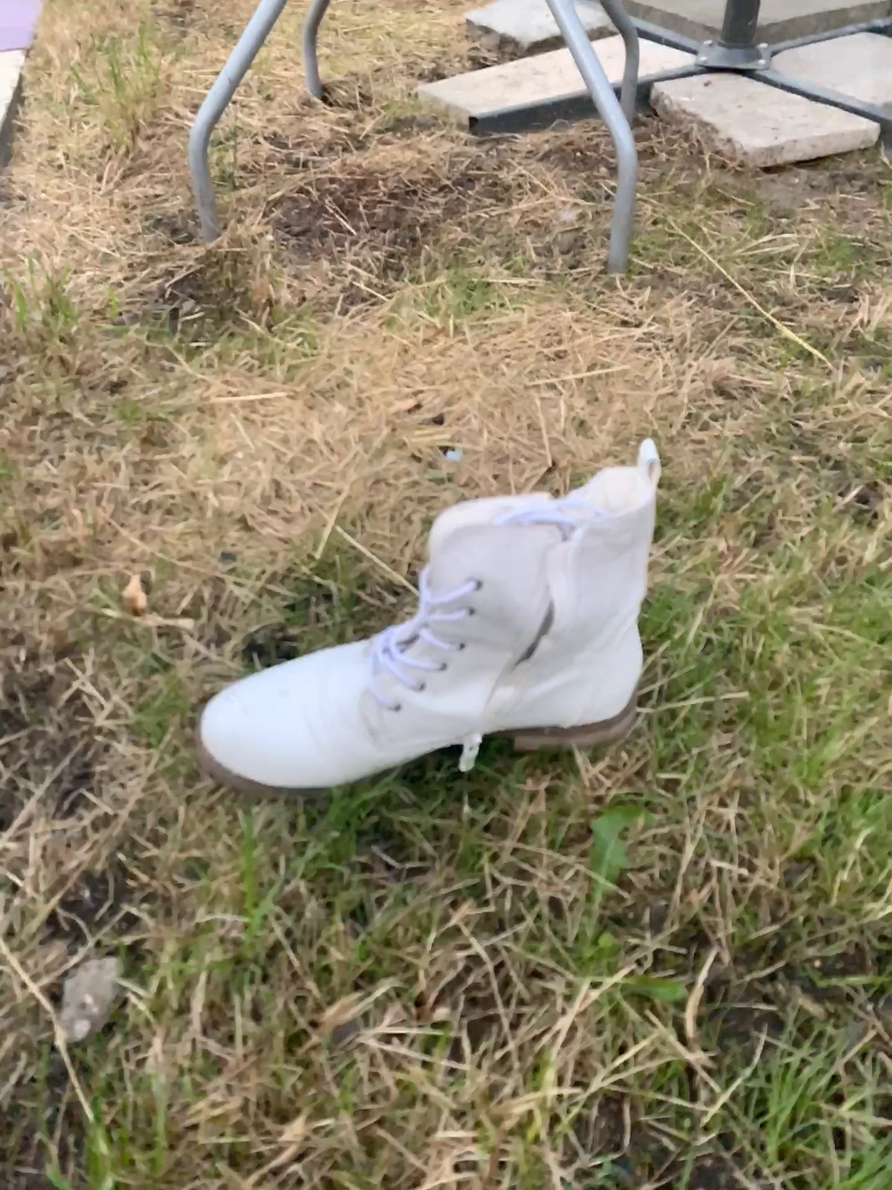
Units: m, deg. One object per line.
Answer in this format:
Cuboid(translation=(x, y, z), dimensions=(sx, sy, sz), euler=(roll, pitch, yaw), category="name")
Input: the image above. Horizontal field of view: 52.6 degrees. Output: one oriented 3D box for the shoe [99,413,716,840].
Cuboid(translation=(-0.018, 0.020, 0.476), dimensions=(0.260, 0.178, 0.101), euler=(-6, 44, -5), category="shoe")
